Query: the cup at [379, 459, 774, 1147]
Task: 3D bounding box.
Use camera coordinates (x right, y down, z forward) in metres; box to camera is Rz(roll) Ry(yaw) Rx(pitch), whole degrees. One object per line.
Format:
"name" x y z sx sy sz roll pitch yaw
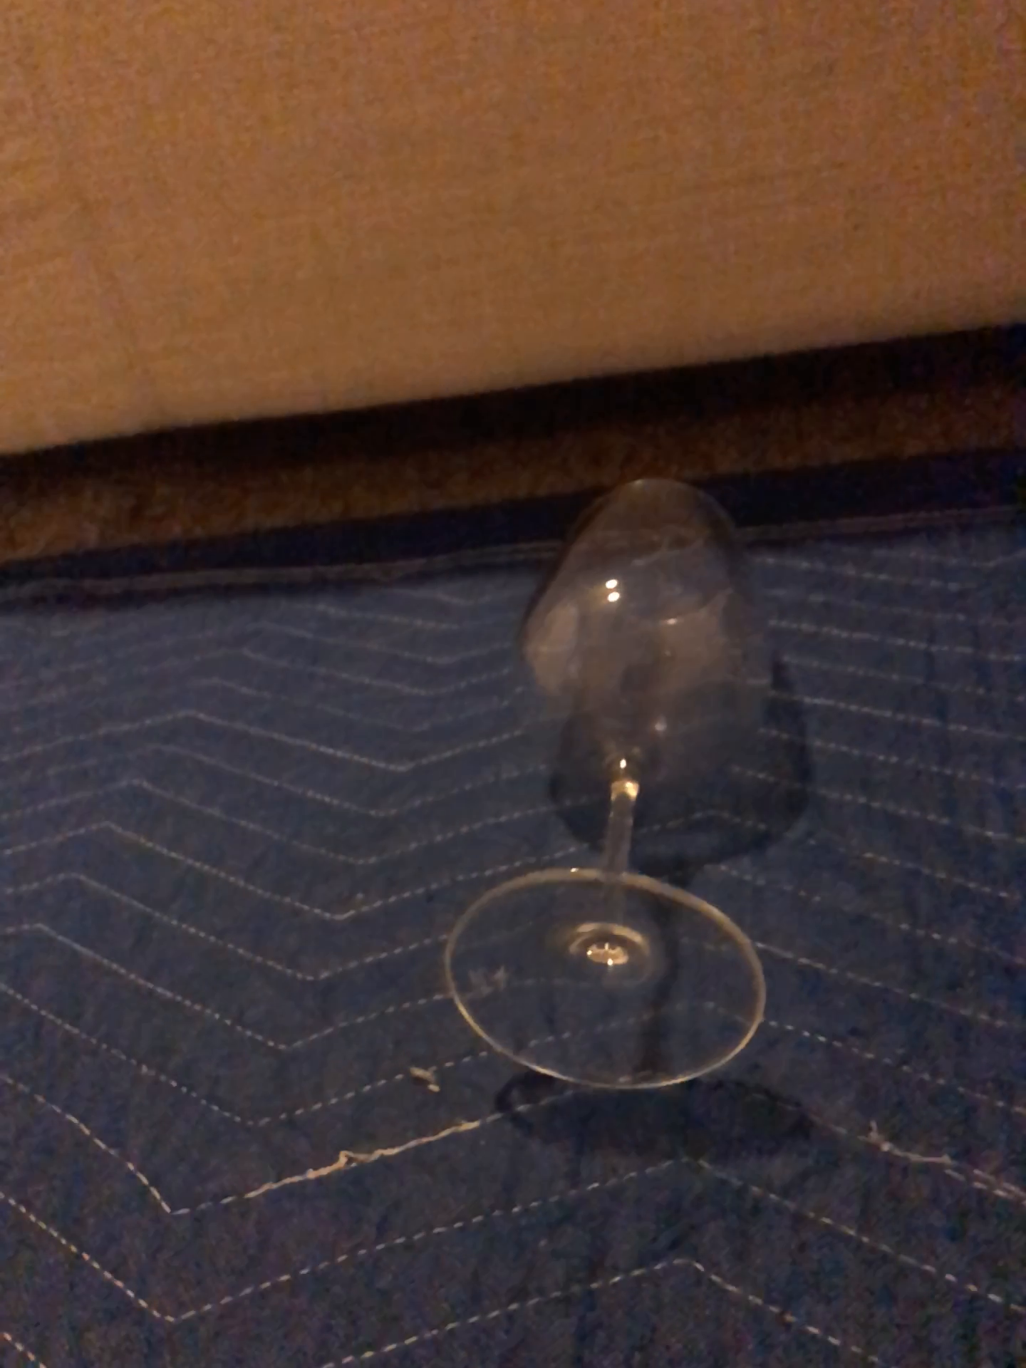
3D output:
"cup" 0.035 0.020 0.353 0.080 0.090 0.211 -3 34 14
